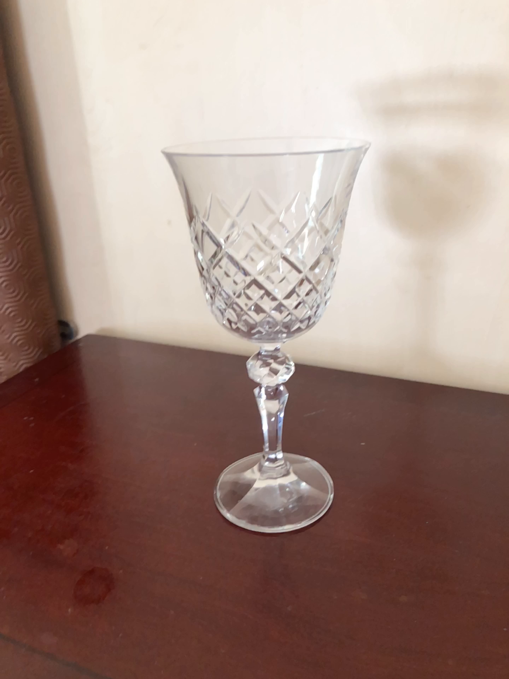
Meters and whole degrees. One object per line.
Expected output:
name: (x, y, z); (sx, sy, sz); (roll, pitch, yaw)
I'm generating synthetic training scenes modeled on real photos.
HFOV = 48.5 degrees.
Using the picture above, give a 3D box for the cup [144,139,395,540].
cup: (0.007, -0.004, 0.279); (0.091, 0.171, 0.092); (-2, 22, 1)
